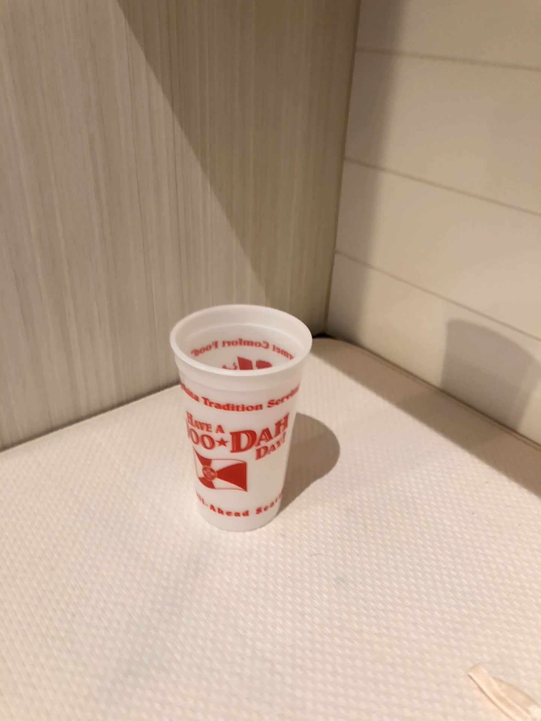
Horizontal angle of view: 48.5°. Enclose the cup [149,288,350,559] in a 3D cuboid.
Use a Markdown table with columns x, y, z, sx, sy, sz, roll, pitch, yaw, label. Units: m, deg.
| x | y | z | sx | sy | sz | roll | pitch | yaw | label |
| --- | --- | --- | --- | --- | --- | --- | --- | --- | --- |
| -0.012 | 0.040 | 0.428 | 0.100 | 0.139 | 0.100 | 2 | 31 | -1 | cup |
